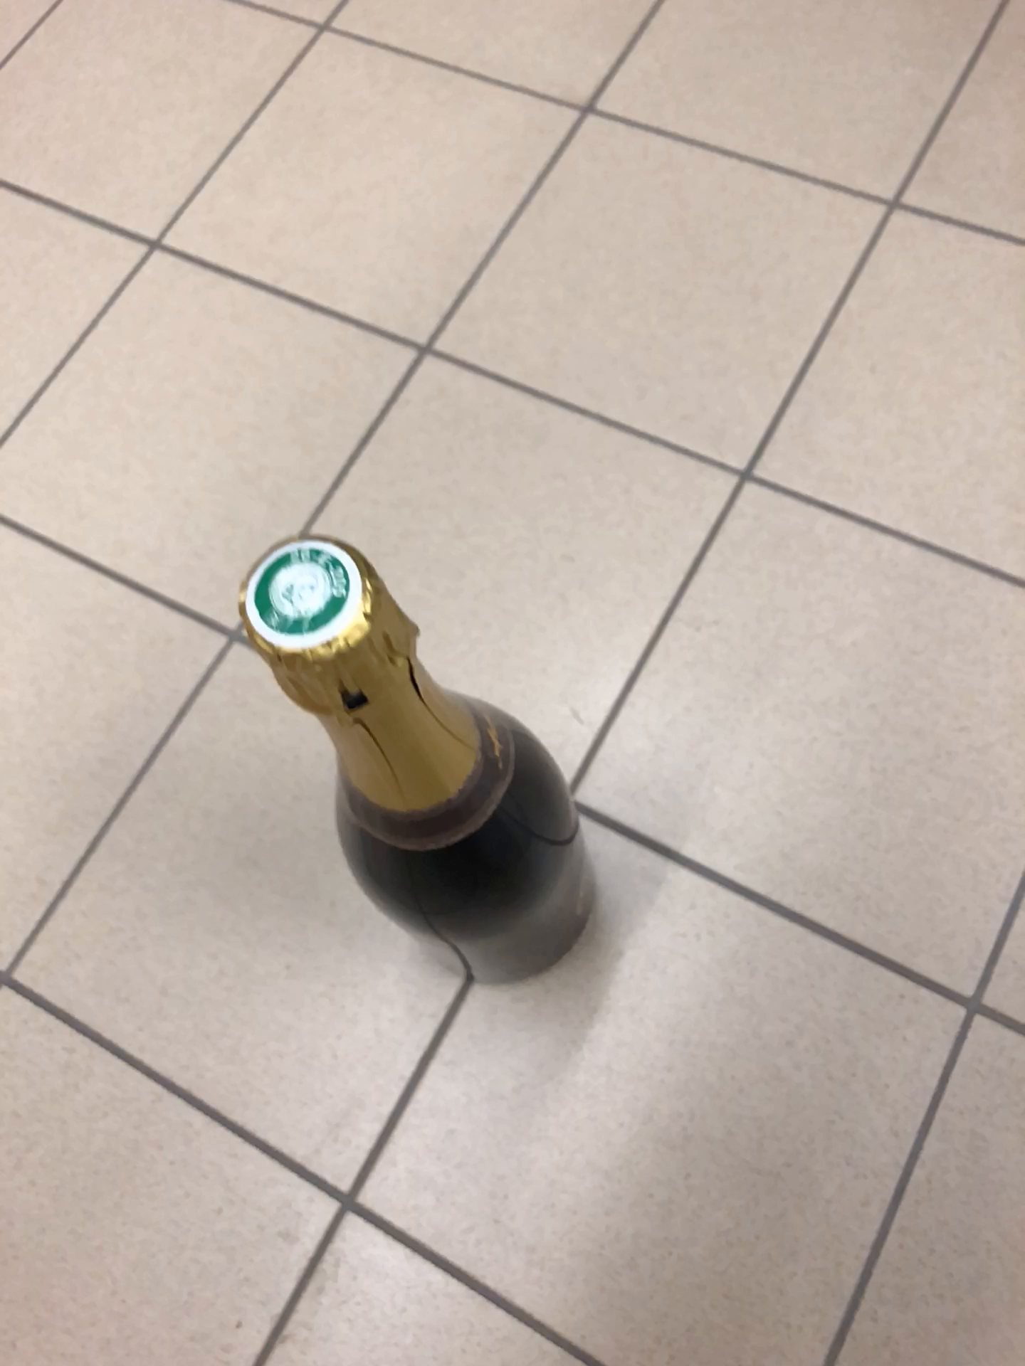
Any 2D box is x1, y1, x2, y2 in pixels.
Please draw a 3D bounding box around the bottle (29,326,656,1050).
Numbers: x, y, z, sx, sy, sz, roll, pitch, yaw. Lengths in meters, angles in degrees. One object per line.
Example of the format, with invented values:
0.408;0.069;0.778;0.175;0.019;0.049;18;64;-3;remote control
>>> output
-0.022;0.041;0.386;0.100;0.319;0.100;-3;68;7;bottle
